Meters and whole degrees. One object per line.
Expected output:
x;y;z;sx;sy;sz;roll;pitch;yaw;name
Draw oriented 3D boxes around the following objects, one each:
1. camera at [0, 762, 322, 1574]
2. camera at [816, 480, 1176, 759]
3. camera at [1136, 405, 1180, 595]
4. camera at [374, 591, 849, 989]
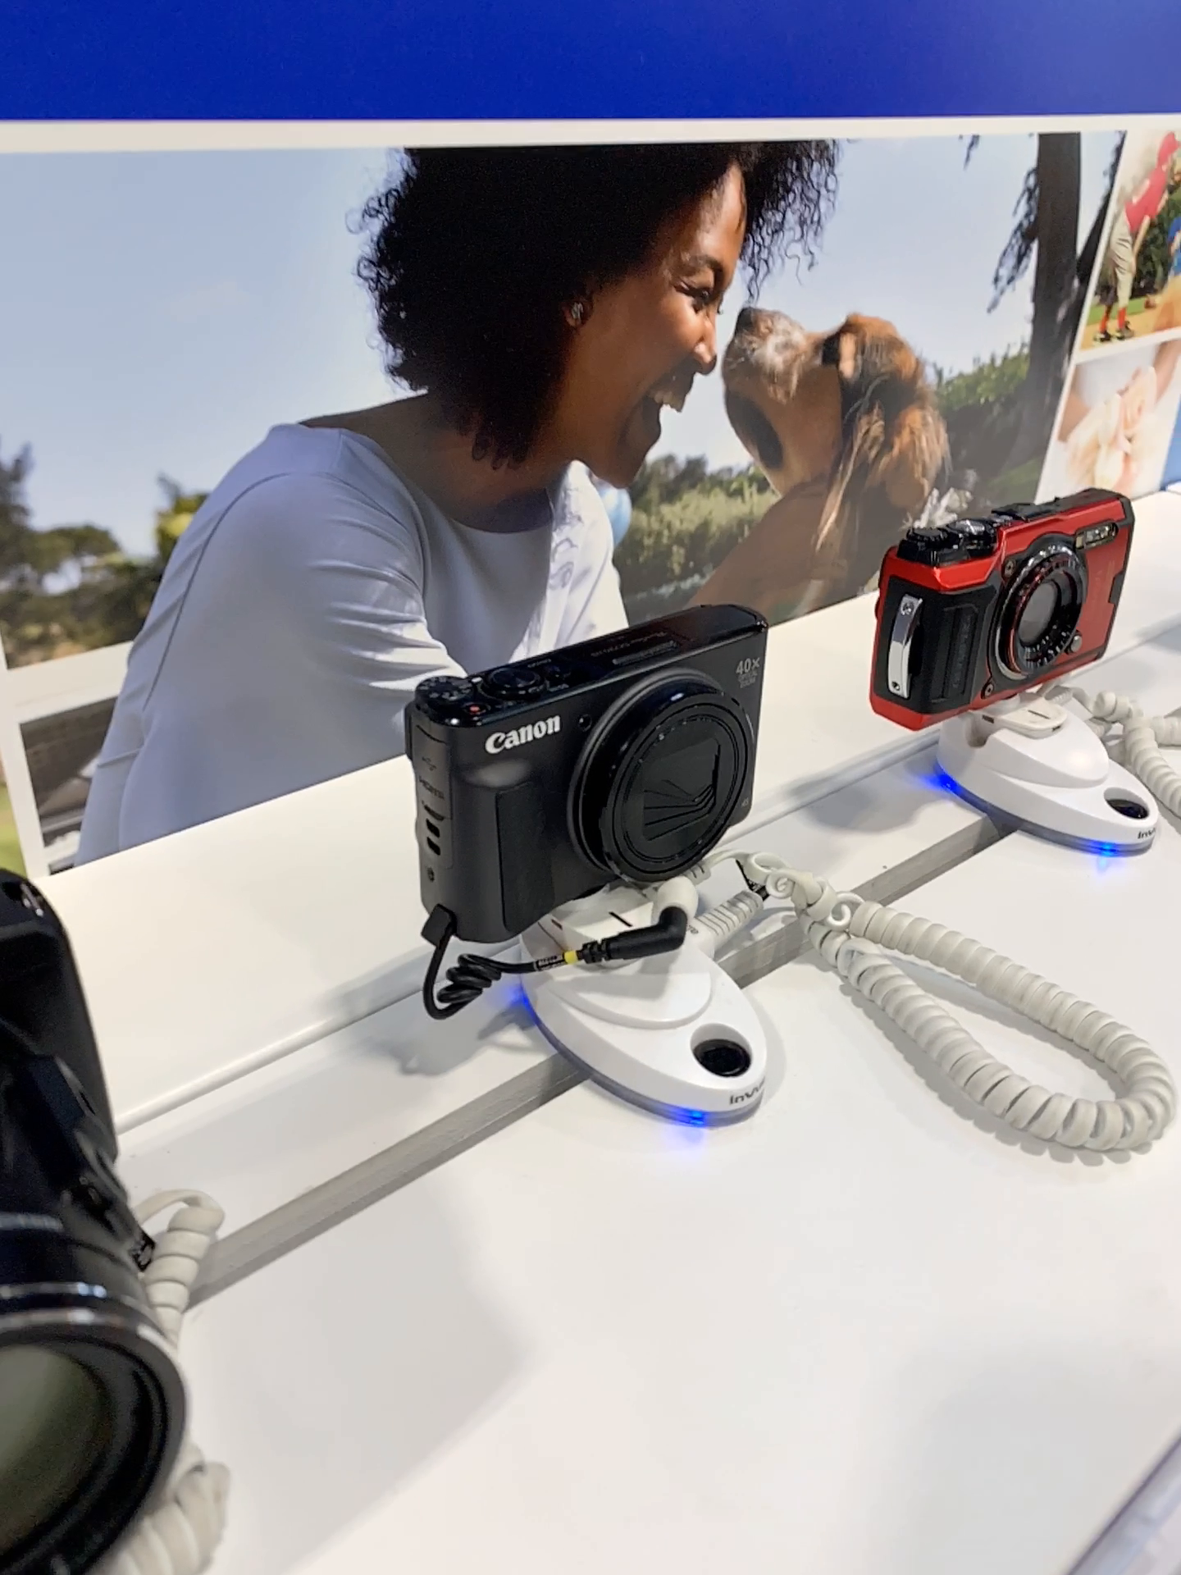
-0.121;0.070;0.168;0.120;0.080;0.111;-21;37;-34;camera
0.148;-0.065;0.441;0.130;0.060;0.050;-22;37;-34;camera
0.319;-0.139;0.578;0.110;0.060;0.050;-21;37;-34;camera
0.008;-0.005;0.332;0.120;0.060;0.050;-22;37;-34;camera
